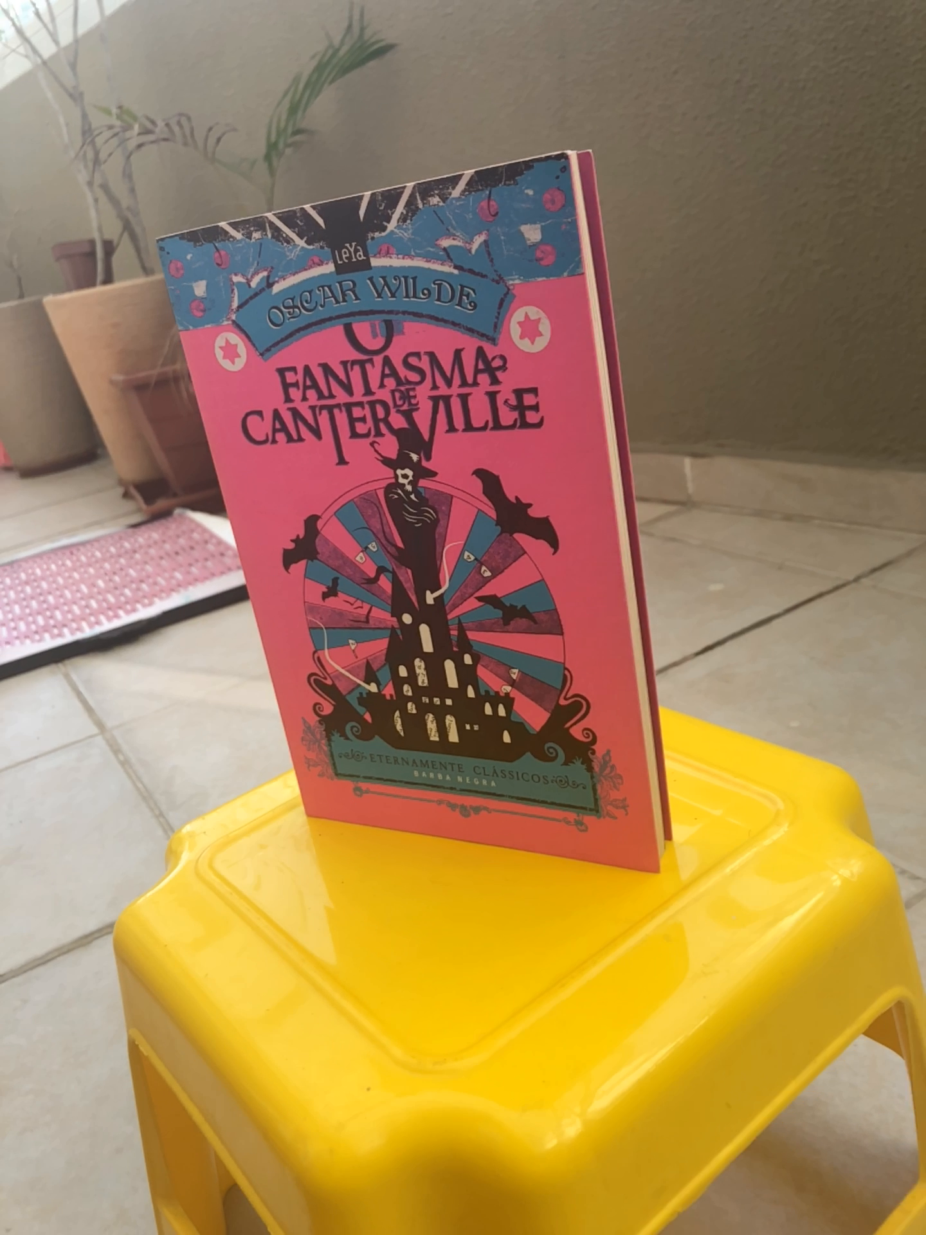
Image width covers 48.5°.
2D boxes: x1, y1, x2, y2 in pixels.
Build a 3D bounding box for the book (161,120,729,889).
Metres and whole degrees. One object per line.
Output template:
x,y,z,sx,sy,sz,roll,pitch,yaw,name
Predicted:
-0.004,-0.022,0.328,0.150,0.219,0.020,1,24,31,book
